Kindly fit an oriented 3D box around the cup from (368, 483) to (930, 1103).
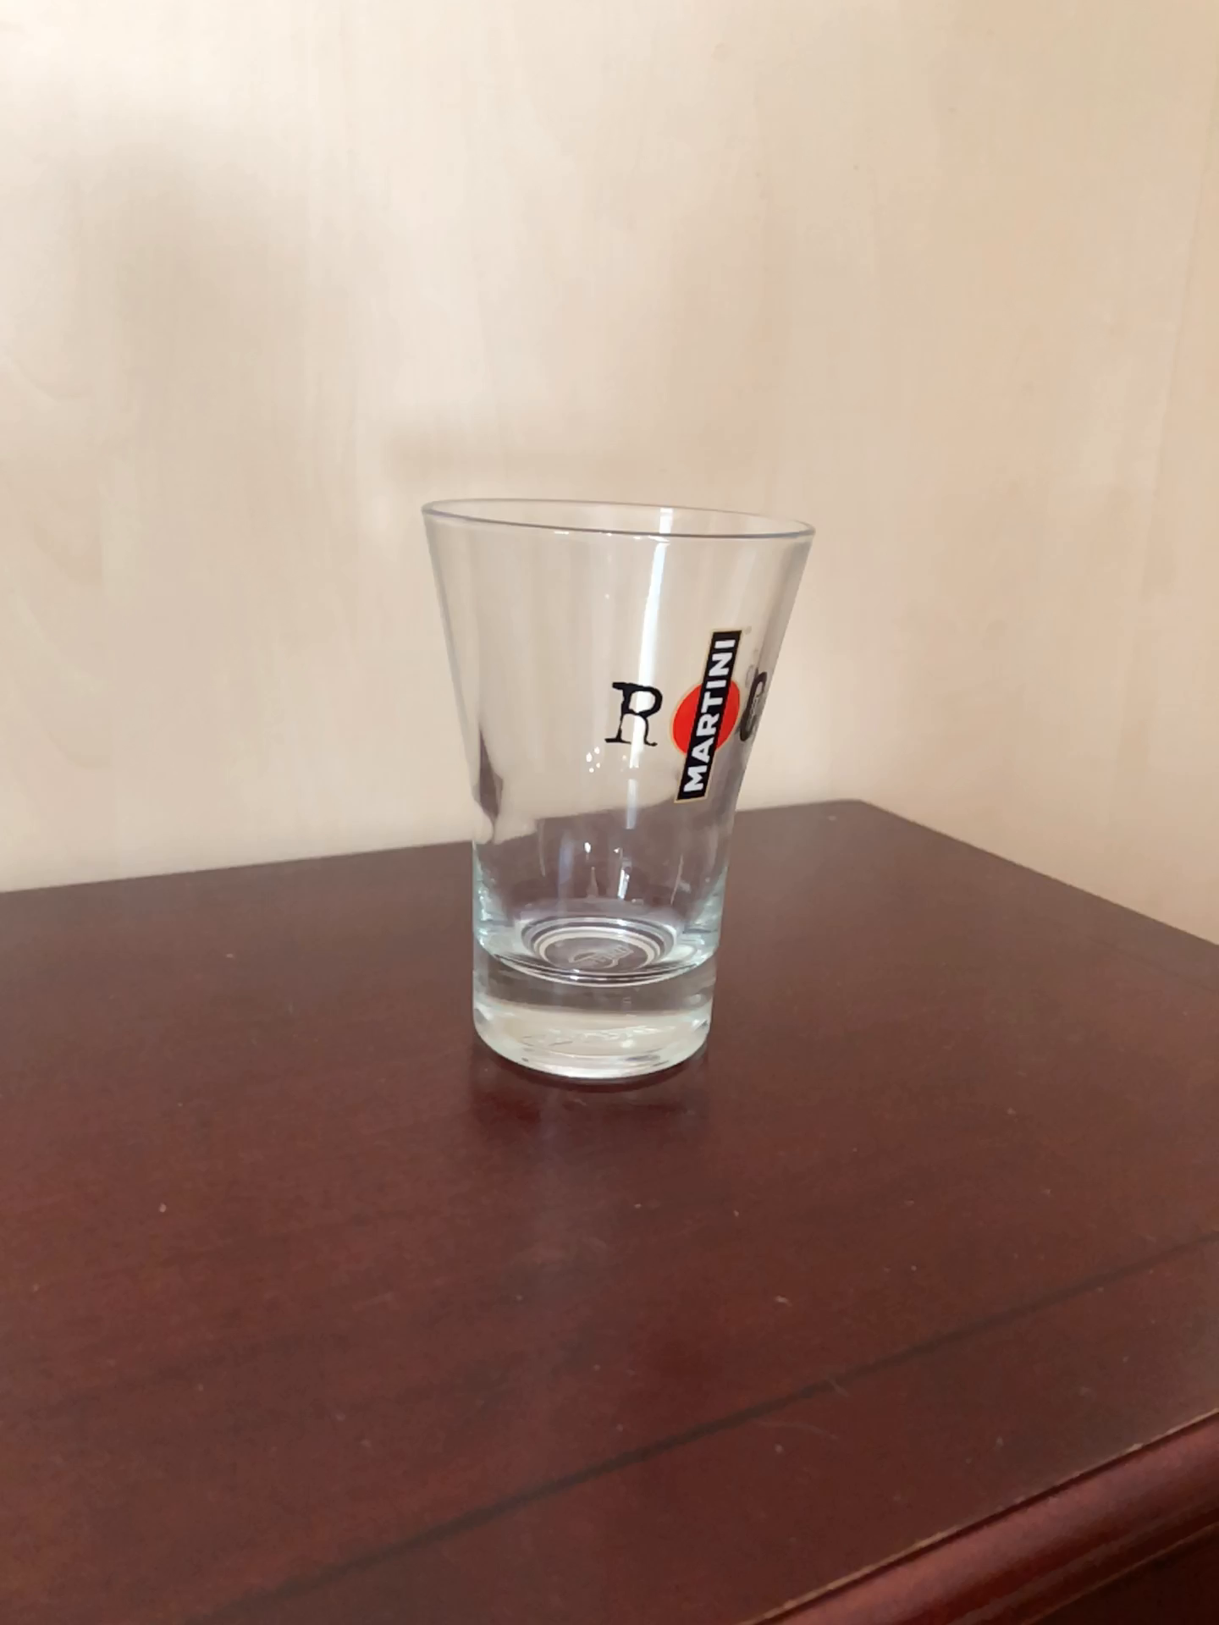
[{"bbox_3d":[0.002,-0.014,0.321,0.094,0.118,0.094,2,15,-1],"label":"cup"}]
